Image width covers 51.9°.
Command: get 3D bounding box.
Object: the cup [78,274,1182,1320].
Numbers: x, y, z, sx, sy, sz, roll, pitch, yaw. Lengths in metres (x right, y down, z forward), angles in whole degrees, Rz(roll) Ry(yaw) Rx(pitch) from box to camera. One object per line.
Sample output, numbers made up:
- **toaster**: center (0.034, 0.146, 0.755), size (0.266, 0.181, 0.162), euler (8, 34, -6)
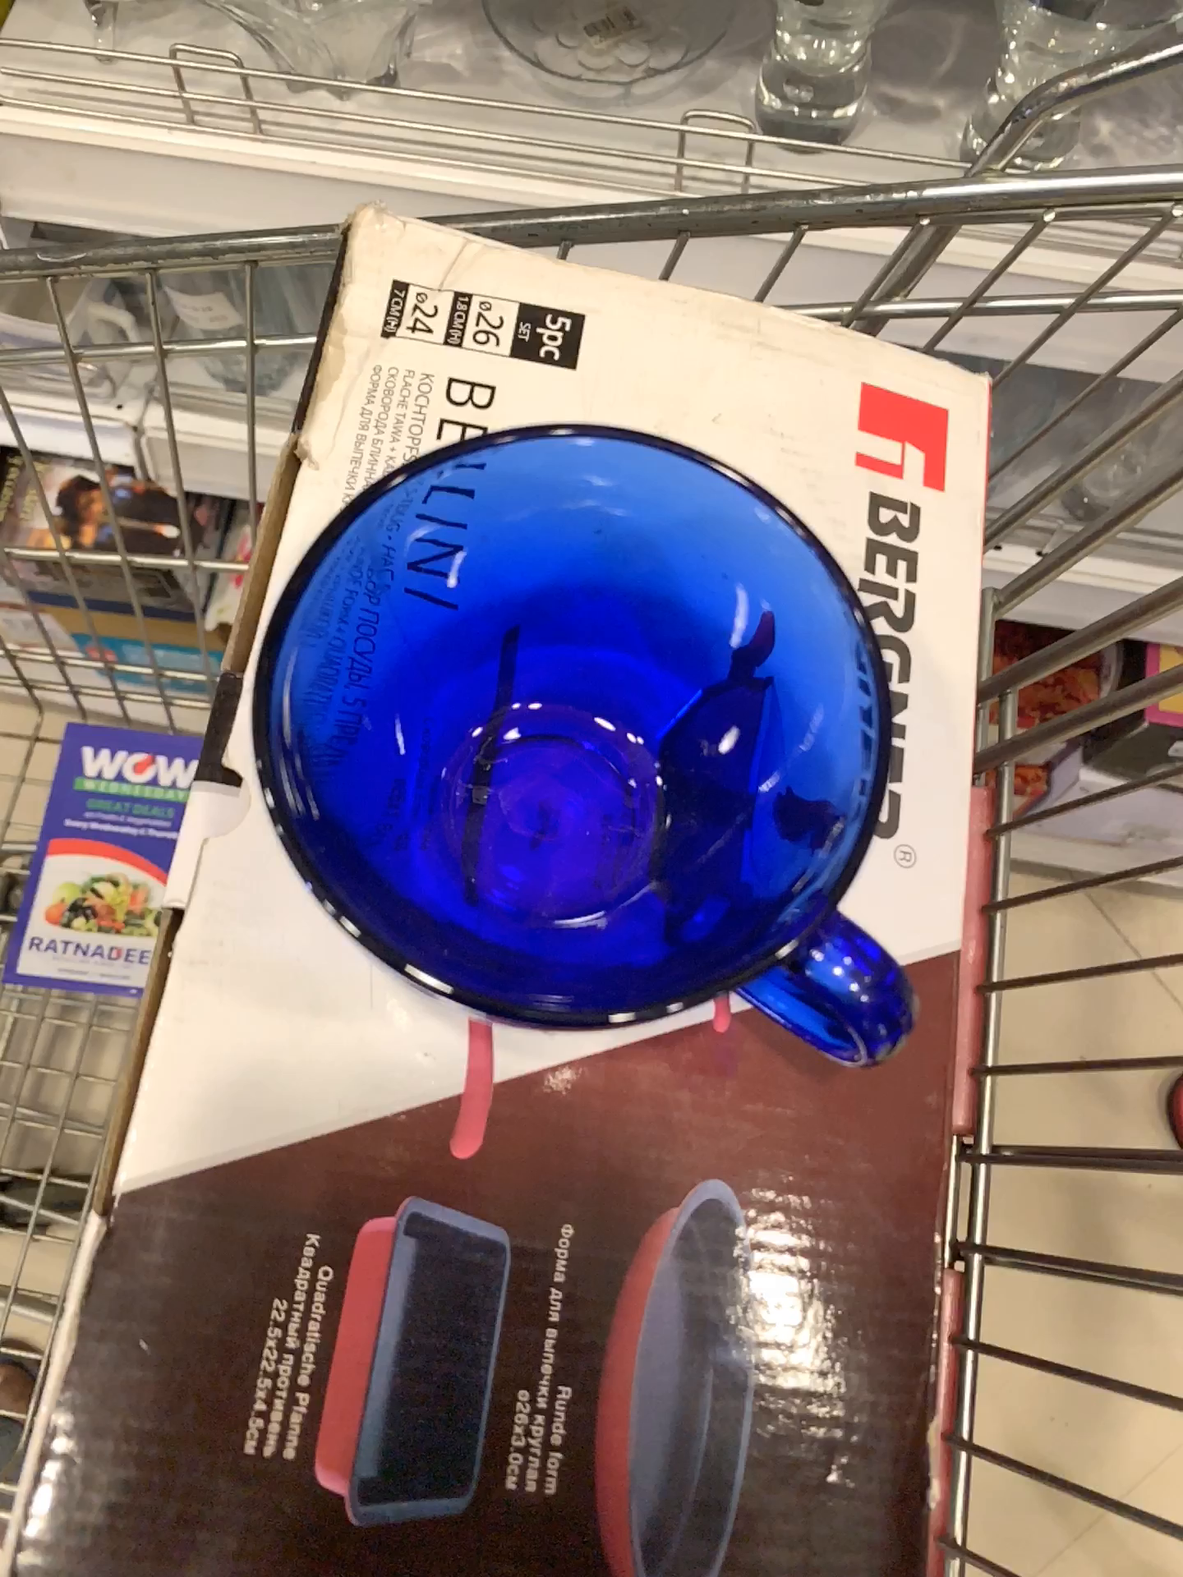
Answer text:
- **cup**: center (0.007, 0.000, 0.168), size (0.110, 0.050, 0.080), euler (36, 75, 11)
